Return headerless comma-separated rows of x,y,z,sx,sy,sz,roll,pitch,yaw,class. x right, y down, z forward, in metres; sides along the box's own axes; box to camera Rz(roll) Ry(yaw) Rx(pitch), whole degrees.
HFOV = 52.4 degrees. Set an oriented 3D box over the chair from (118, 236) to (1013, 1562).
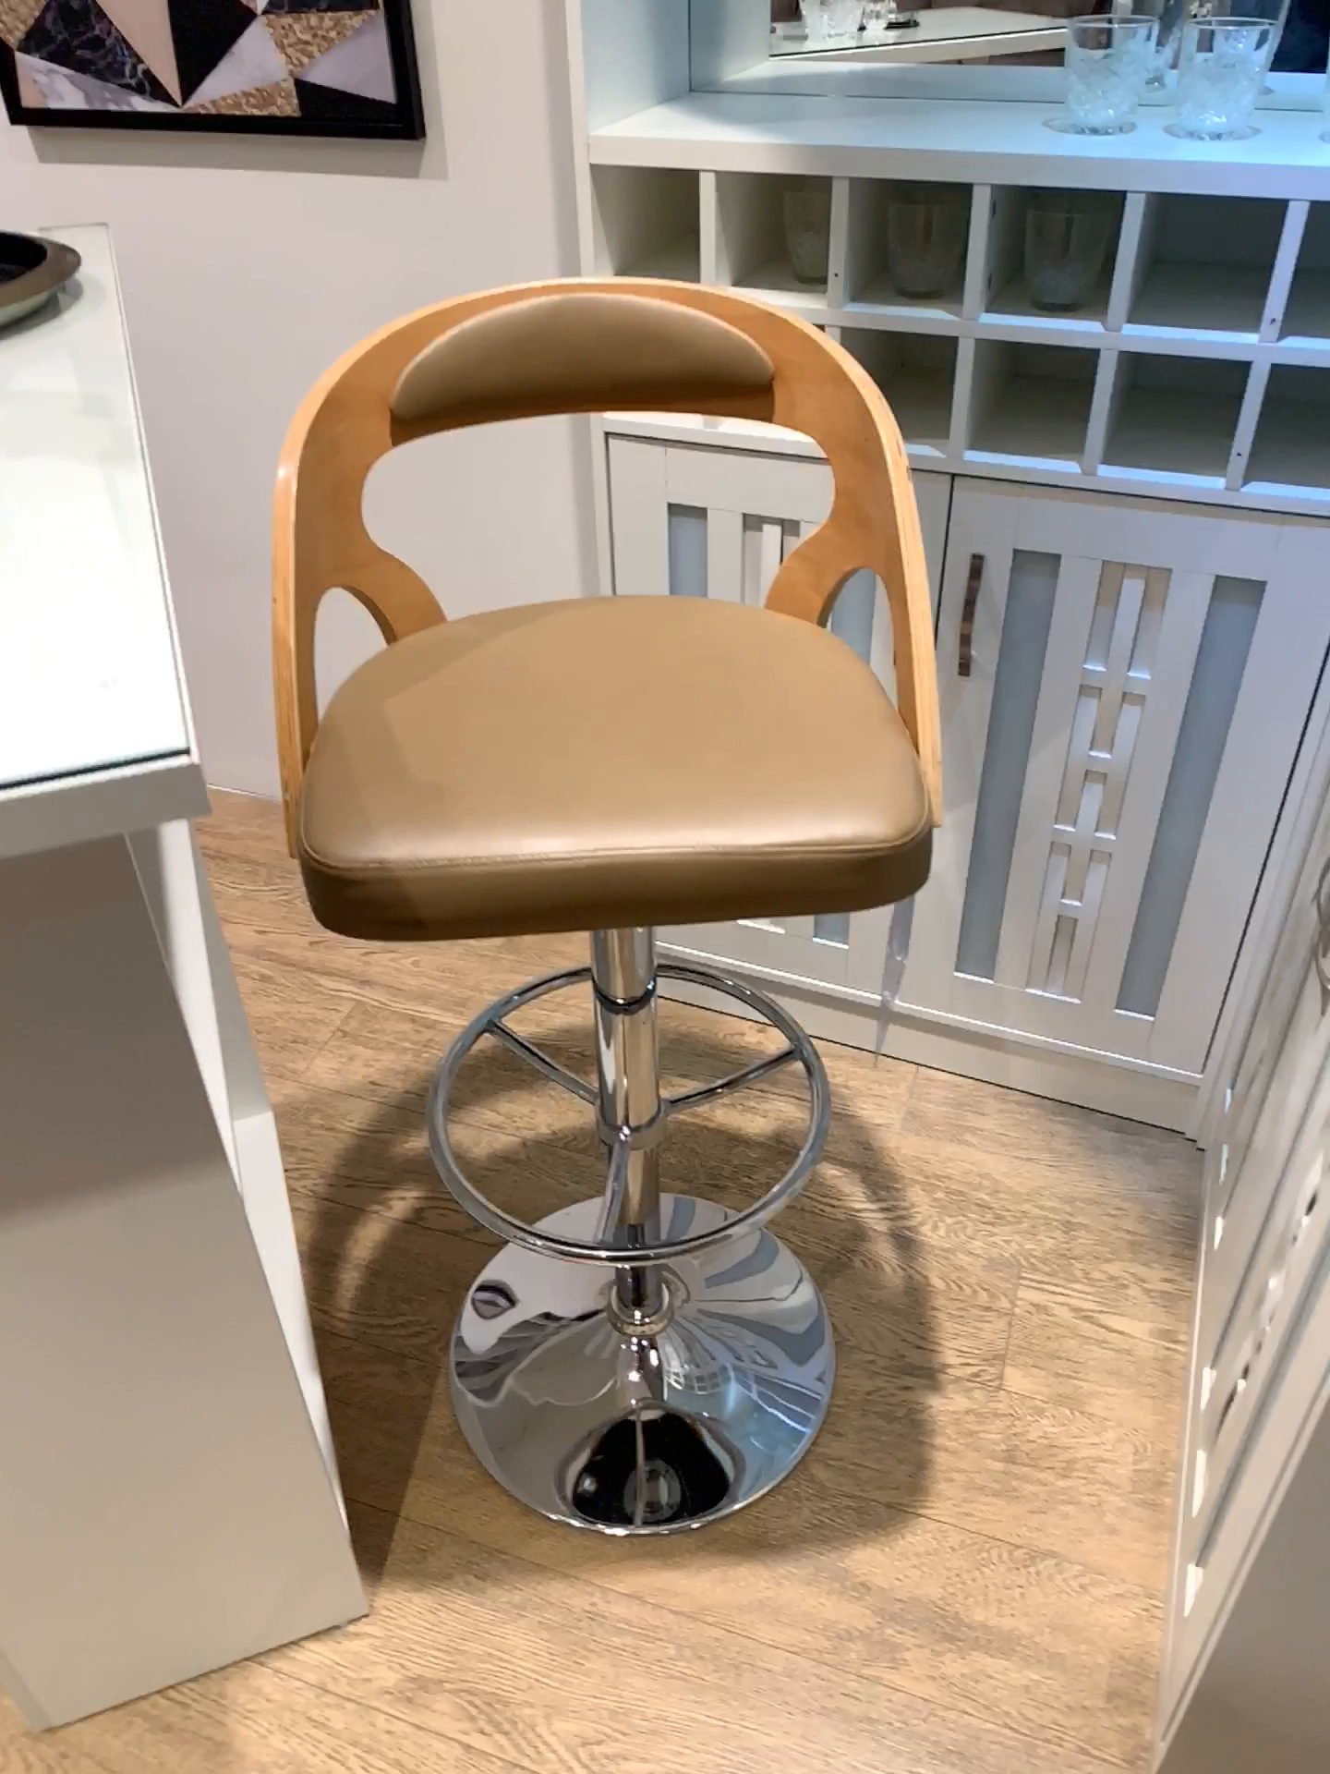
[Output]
-0.045,0.072,1.146,0.430,1.046,0.462,-2,37,-1,chair
